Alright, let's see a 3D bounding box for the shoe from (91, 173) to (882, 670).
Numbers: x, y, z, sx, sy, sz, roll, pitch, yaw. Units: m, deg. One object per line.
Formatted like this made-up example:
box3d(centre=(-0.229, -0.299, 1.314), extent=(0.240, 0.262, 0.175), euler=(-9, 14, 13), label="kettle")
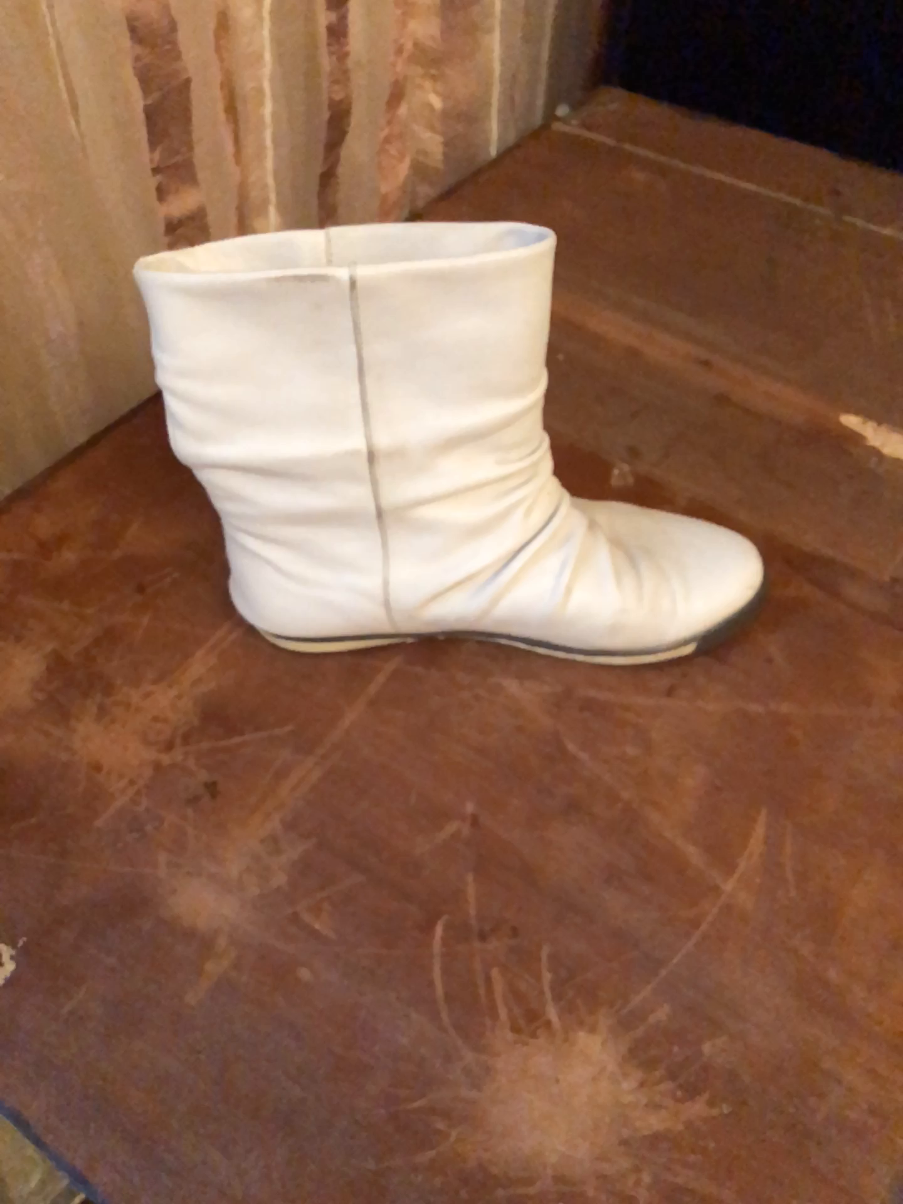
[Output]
box3d(centre=(0.010, -0.063, 0.400), extent=(0.240, 0.169, 0.090), euler=(1, 49, 0), label="shoe")
